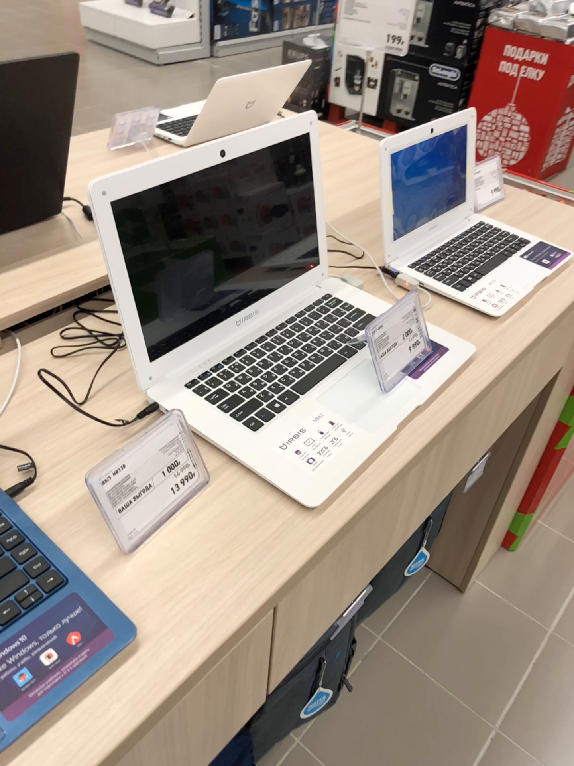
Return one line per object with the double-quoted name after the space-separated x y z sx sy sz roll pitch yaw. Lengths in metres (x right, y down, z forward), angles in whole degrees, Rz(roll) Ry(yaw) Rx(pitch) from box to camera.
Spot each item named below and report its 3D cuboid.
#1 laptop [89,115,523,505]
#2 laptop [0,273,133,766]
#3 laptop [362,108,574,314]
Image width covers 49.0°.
0.027 -0.110 0.672 0.279 0.207 0.335 30 44 26 "laptop"
-0.320 0.108 0.386 0.311 0.158 0.299 31 44 28 "laptop"
0.292 -0.266 0.929 0.221 0.167 0.260 31 46 28 "laptop"
